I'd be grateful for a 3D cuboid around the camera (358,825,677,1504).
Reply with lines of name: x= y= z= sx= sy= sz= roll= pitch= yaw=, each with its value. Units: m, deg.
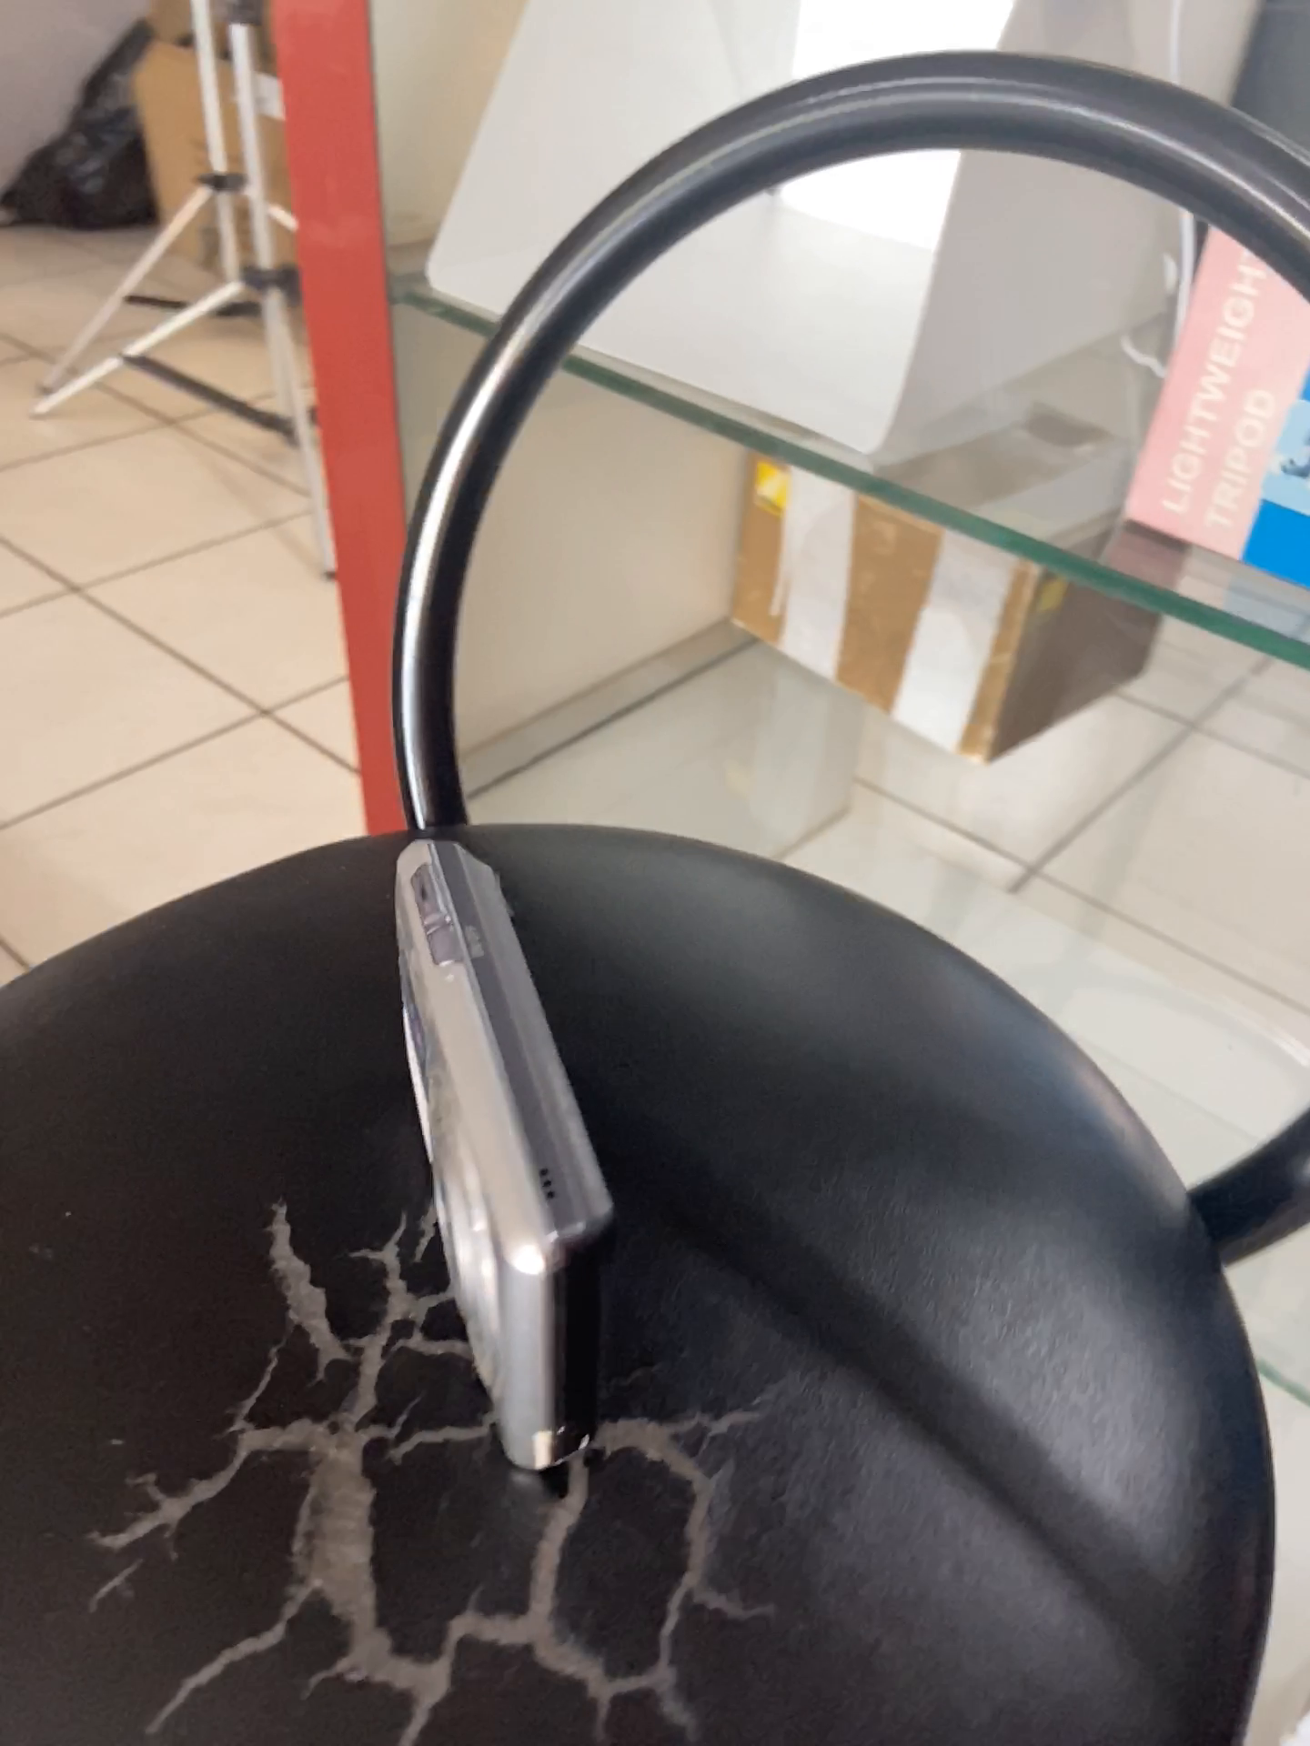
camera: x=-0.028 y=0.047 z=0.244 sx=0.030 sy=0.060 sz=0.101 roll=-9 pitch=40 yaw=-16
